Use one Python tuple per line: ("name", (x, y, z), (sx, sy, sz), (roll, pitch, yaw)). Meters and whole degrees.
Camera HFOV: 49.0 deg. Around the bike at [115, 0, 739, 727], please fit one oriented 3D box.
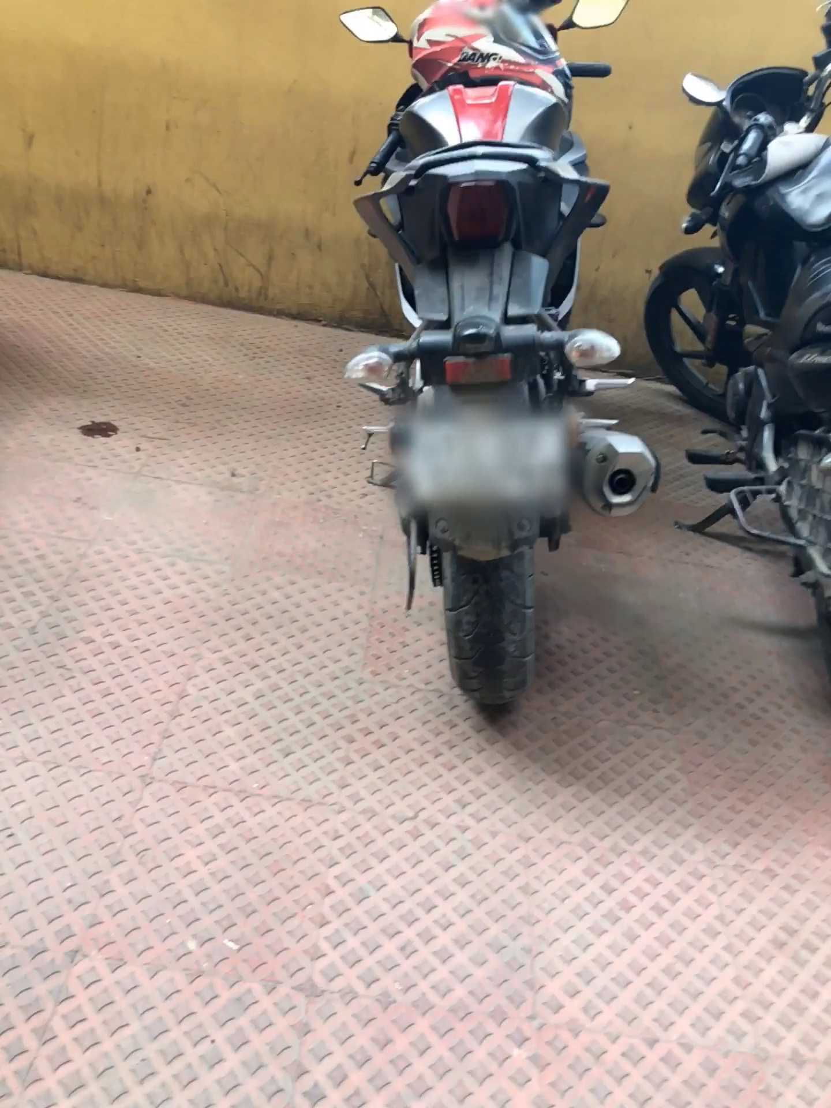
("bike", (-0.110, -0.676, 1.973), (0.725, 0.869, 1.755), (5, 37, -7))
